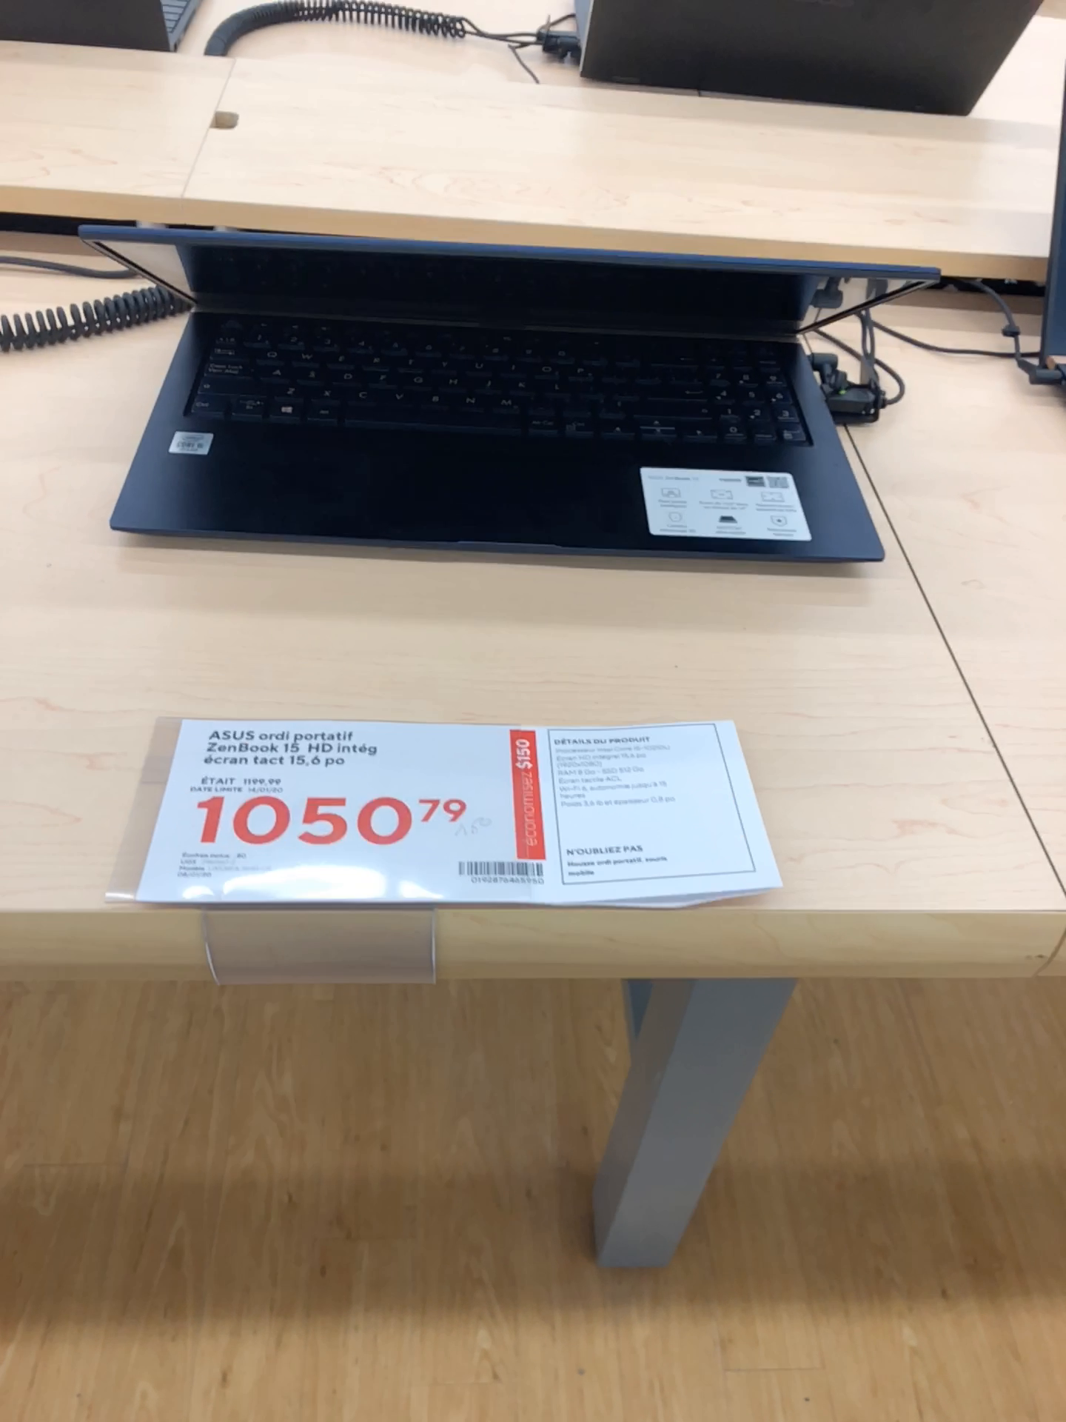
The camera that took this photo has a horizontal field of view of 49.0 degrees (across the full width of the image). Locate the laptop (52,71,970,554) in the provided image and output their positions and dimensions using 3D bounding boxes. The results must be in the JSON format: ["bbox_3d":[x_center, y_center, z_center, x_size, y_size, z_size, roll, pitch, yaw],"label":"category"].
[{"bbox_3d":[-0.009,-0.191,0.554,0.346,0.119,0.205,2,45,-5],"label":"laptop"}]
